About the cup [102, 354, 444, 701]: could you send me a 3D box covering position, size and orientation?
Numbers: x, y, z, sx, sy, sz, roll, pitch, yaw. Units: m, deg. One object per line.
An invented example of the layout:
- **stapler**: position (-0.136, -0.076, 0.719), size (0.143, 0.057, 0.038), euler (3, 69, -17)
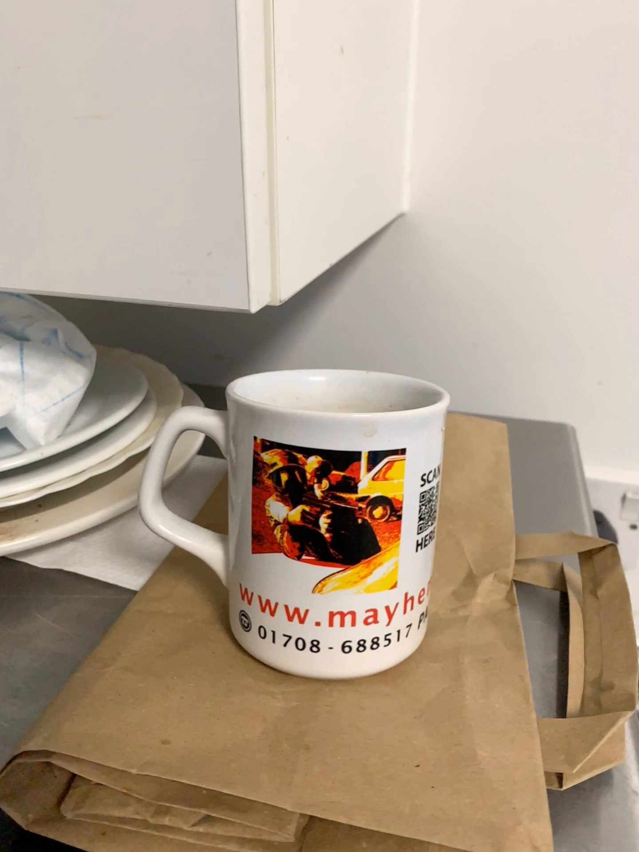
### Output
- **cup**: position (-0.010, 0.027, 0.237), size (0.100, 0.088, 0.078), euler (5, 14, 10)
